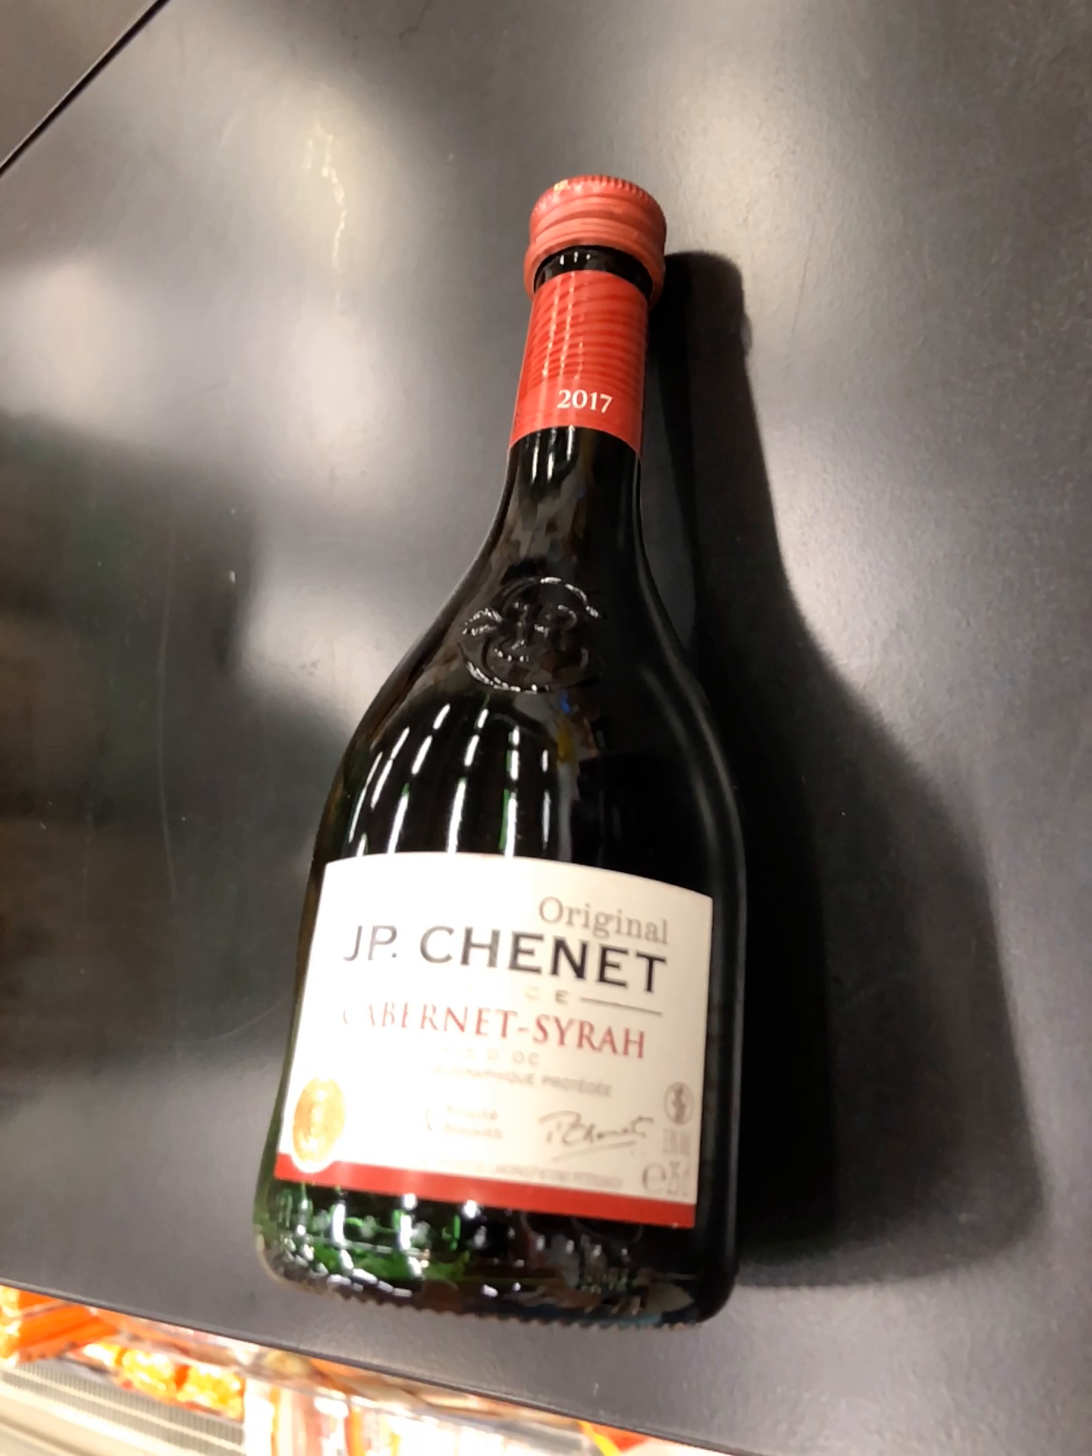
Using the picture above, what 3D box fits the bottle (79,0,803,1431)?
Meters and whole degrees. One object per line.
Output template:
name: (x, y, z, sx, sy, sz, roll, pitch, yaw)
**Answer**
bottle: (-0.008, -0.018, 0.184, 0.070, 0.060, 0.200, -12, 67, 41)
